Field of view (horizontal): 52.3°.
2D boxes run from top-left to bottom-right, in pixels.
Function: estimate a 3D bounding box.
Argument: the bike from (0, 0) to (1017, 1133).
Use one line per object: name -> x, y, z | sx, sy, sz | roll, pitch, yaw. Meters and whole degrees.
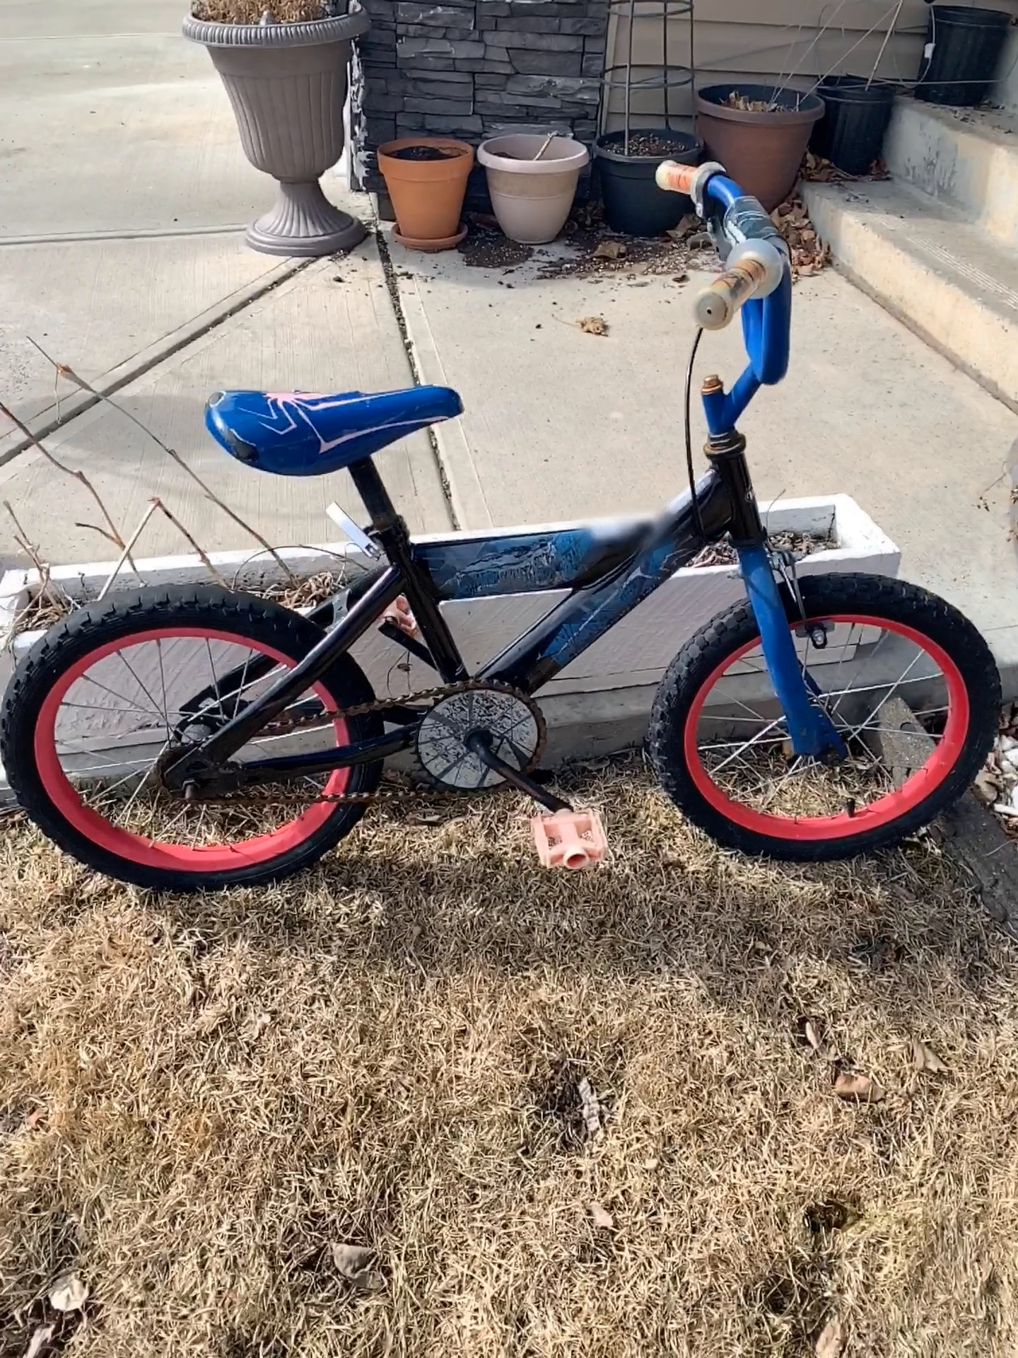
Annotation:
bike -> 0.019, -0.078, 0.911 | 1.023, 0.728, 0.538 | -3, 39, -1
